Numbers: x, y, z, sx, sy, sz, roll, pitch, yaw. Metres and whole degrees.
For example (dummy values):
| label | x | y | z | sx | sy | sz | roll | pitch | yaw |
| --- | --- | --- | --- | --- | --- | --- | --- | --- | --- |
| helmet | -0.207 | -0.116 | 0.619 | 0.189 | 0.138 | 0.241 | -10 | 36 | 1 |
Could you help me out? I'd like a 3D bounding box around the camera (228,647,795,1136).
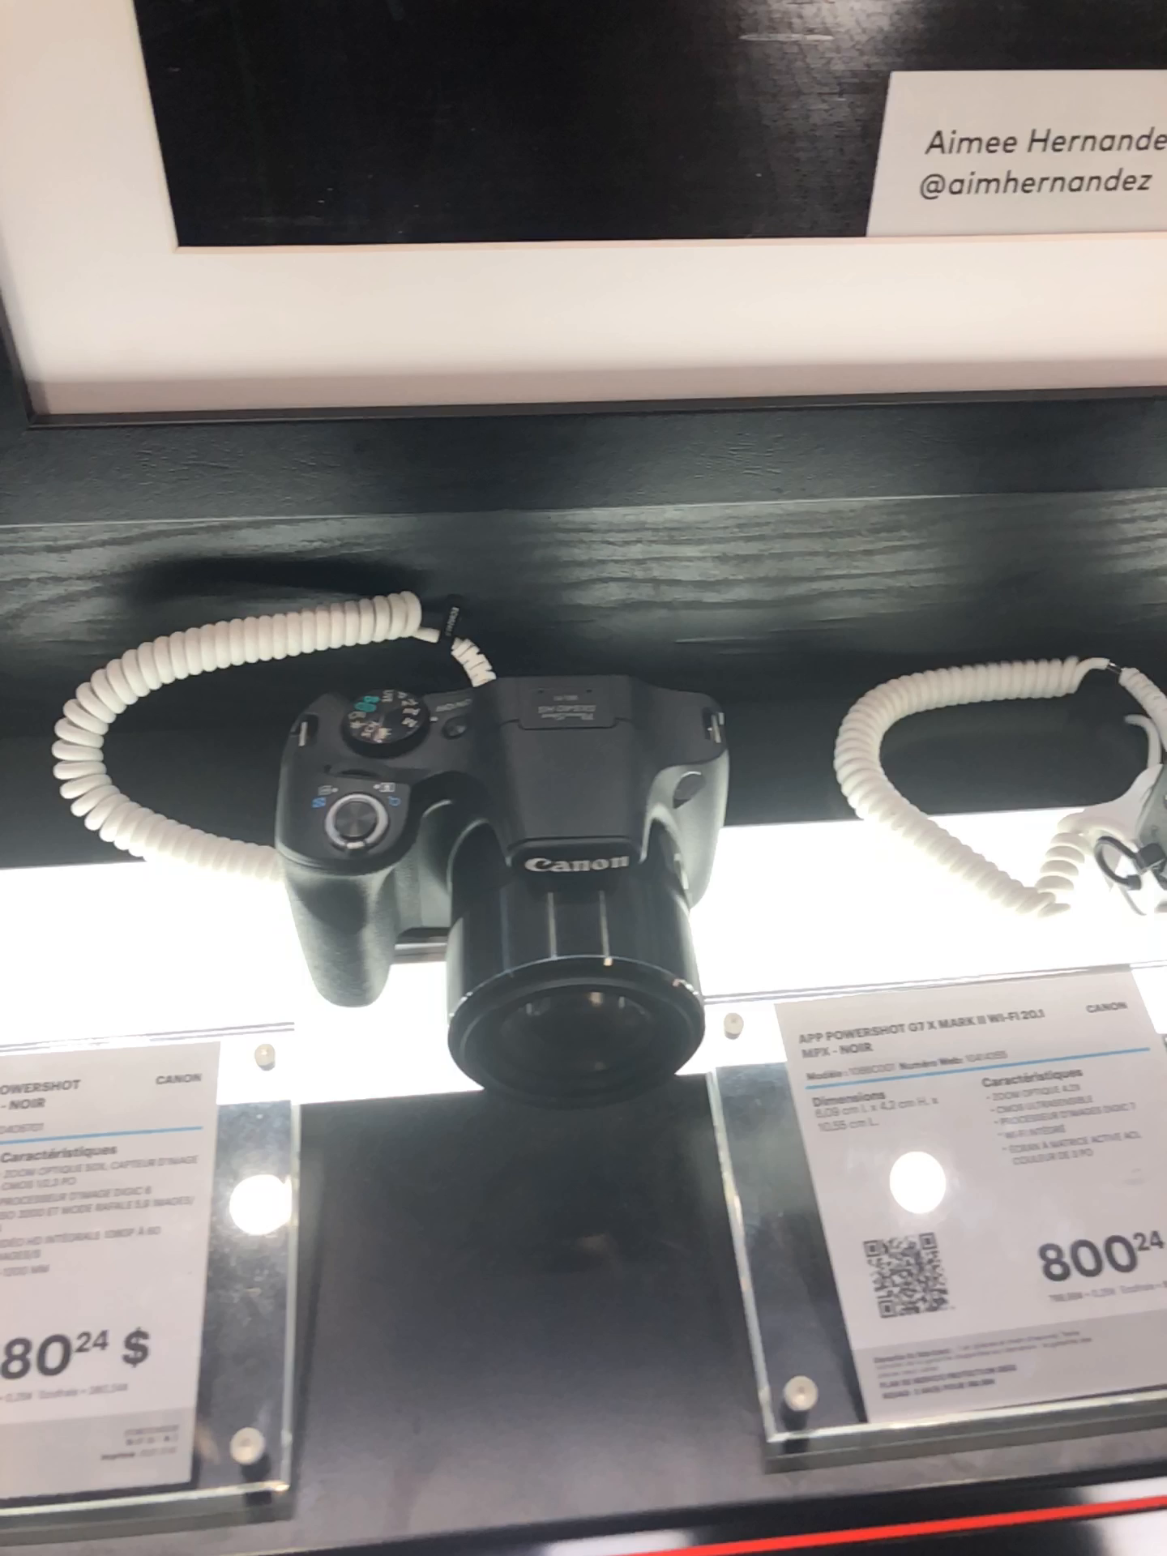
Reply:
| label | x | y | z | sx | sy | sz | roll | pitch | yaw |
| --- | --- | --- | --- | --- | --- | --- | --- | --- | --- |
| camera | -0.019 | 0.030 | 0.336 | 0.122 | 0.099 | 0.071 | -3 | 41 | -5 |
